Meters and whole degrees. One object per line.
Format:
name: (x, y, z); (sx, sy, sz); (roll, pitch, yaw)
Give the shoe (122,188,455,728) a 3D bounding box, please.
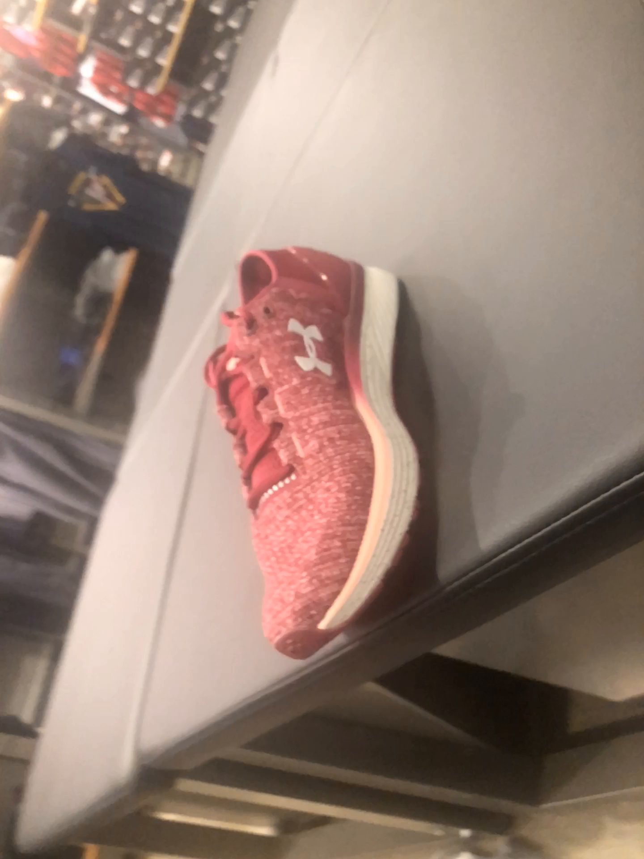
shoe: (-0.017, 0.004, 0.391); (0.122, 0.097, 0.253); (-52, 25, 41)
